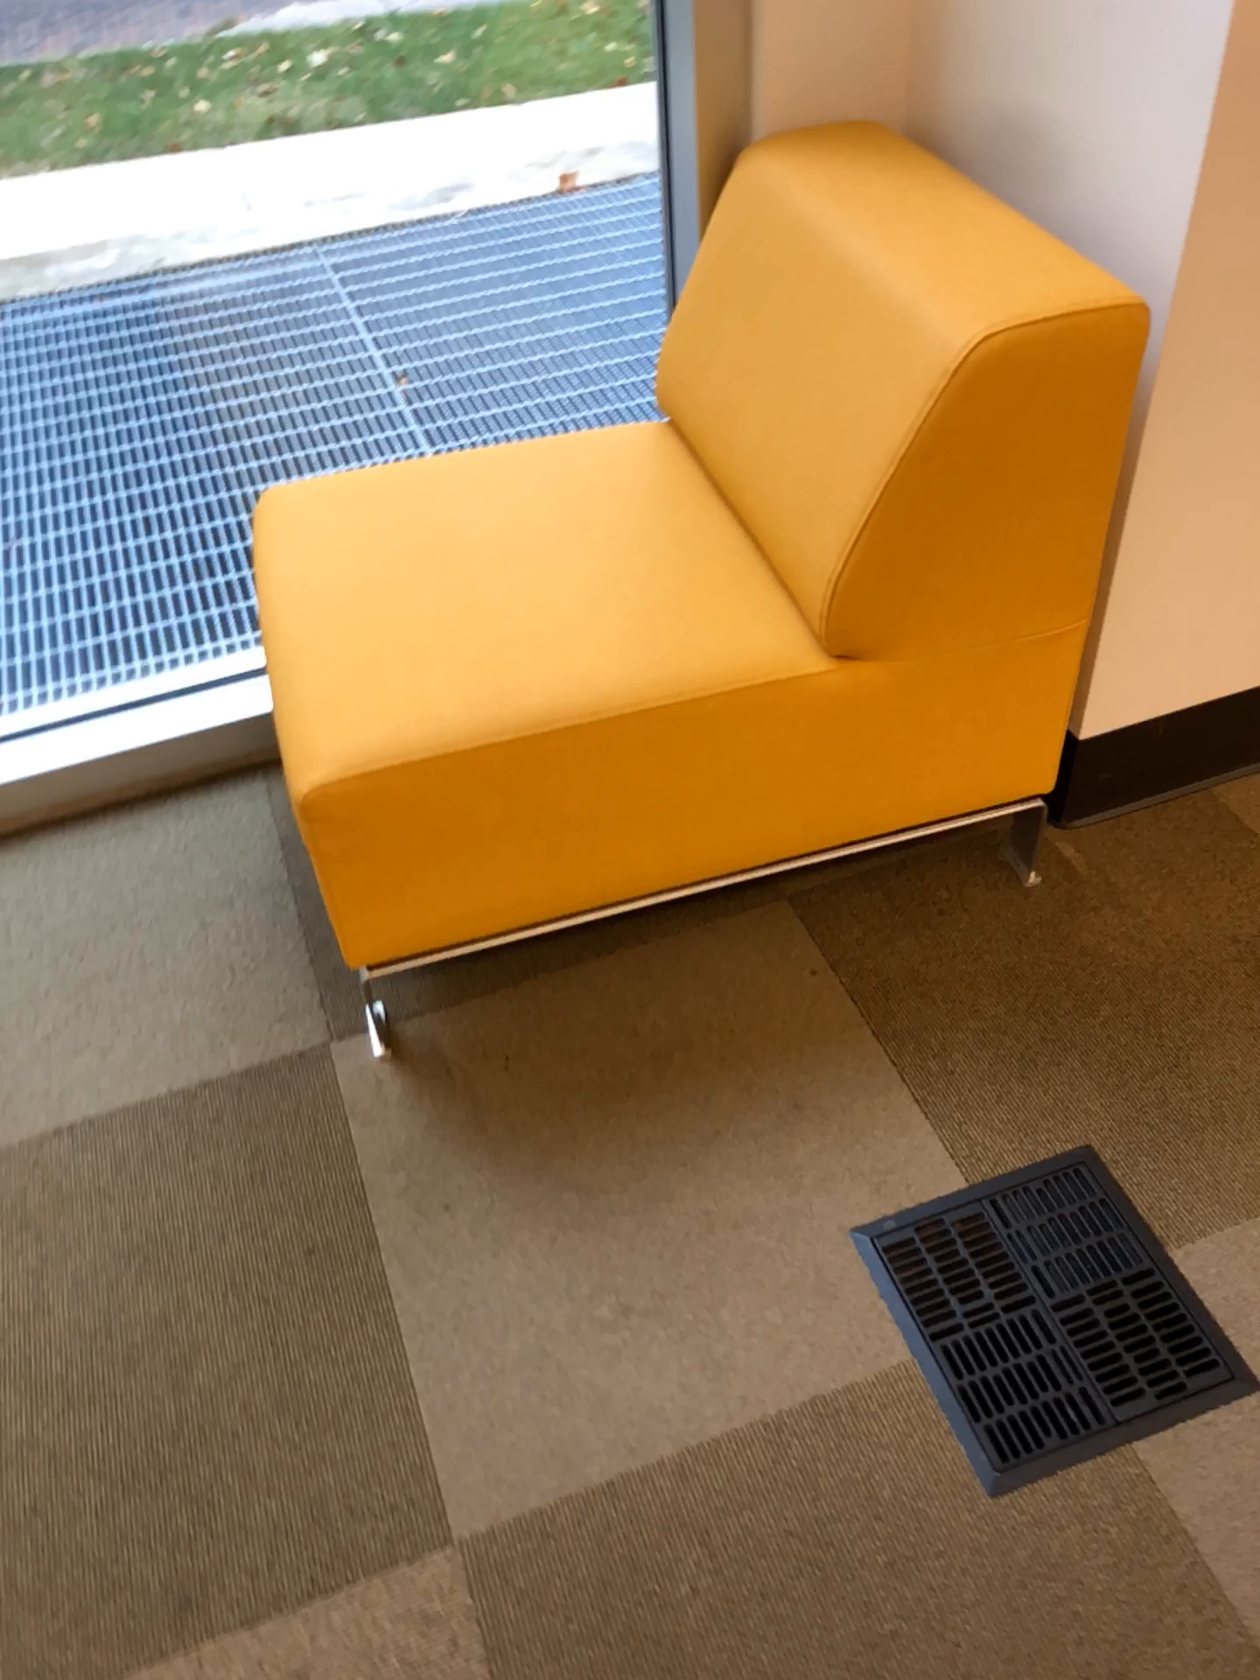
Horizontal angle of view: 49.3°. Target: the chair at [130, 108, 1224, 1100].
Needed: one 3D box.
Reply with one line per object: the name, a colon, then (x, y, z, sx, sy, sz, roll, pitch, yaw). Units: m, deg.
chair: (0.007, -0.303, 1.642, 0.946, 0.751, 0.674, -14, 44, -9)
